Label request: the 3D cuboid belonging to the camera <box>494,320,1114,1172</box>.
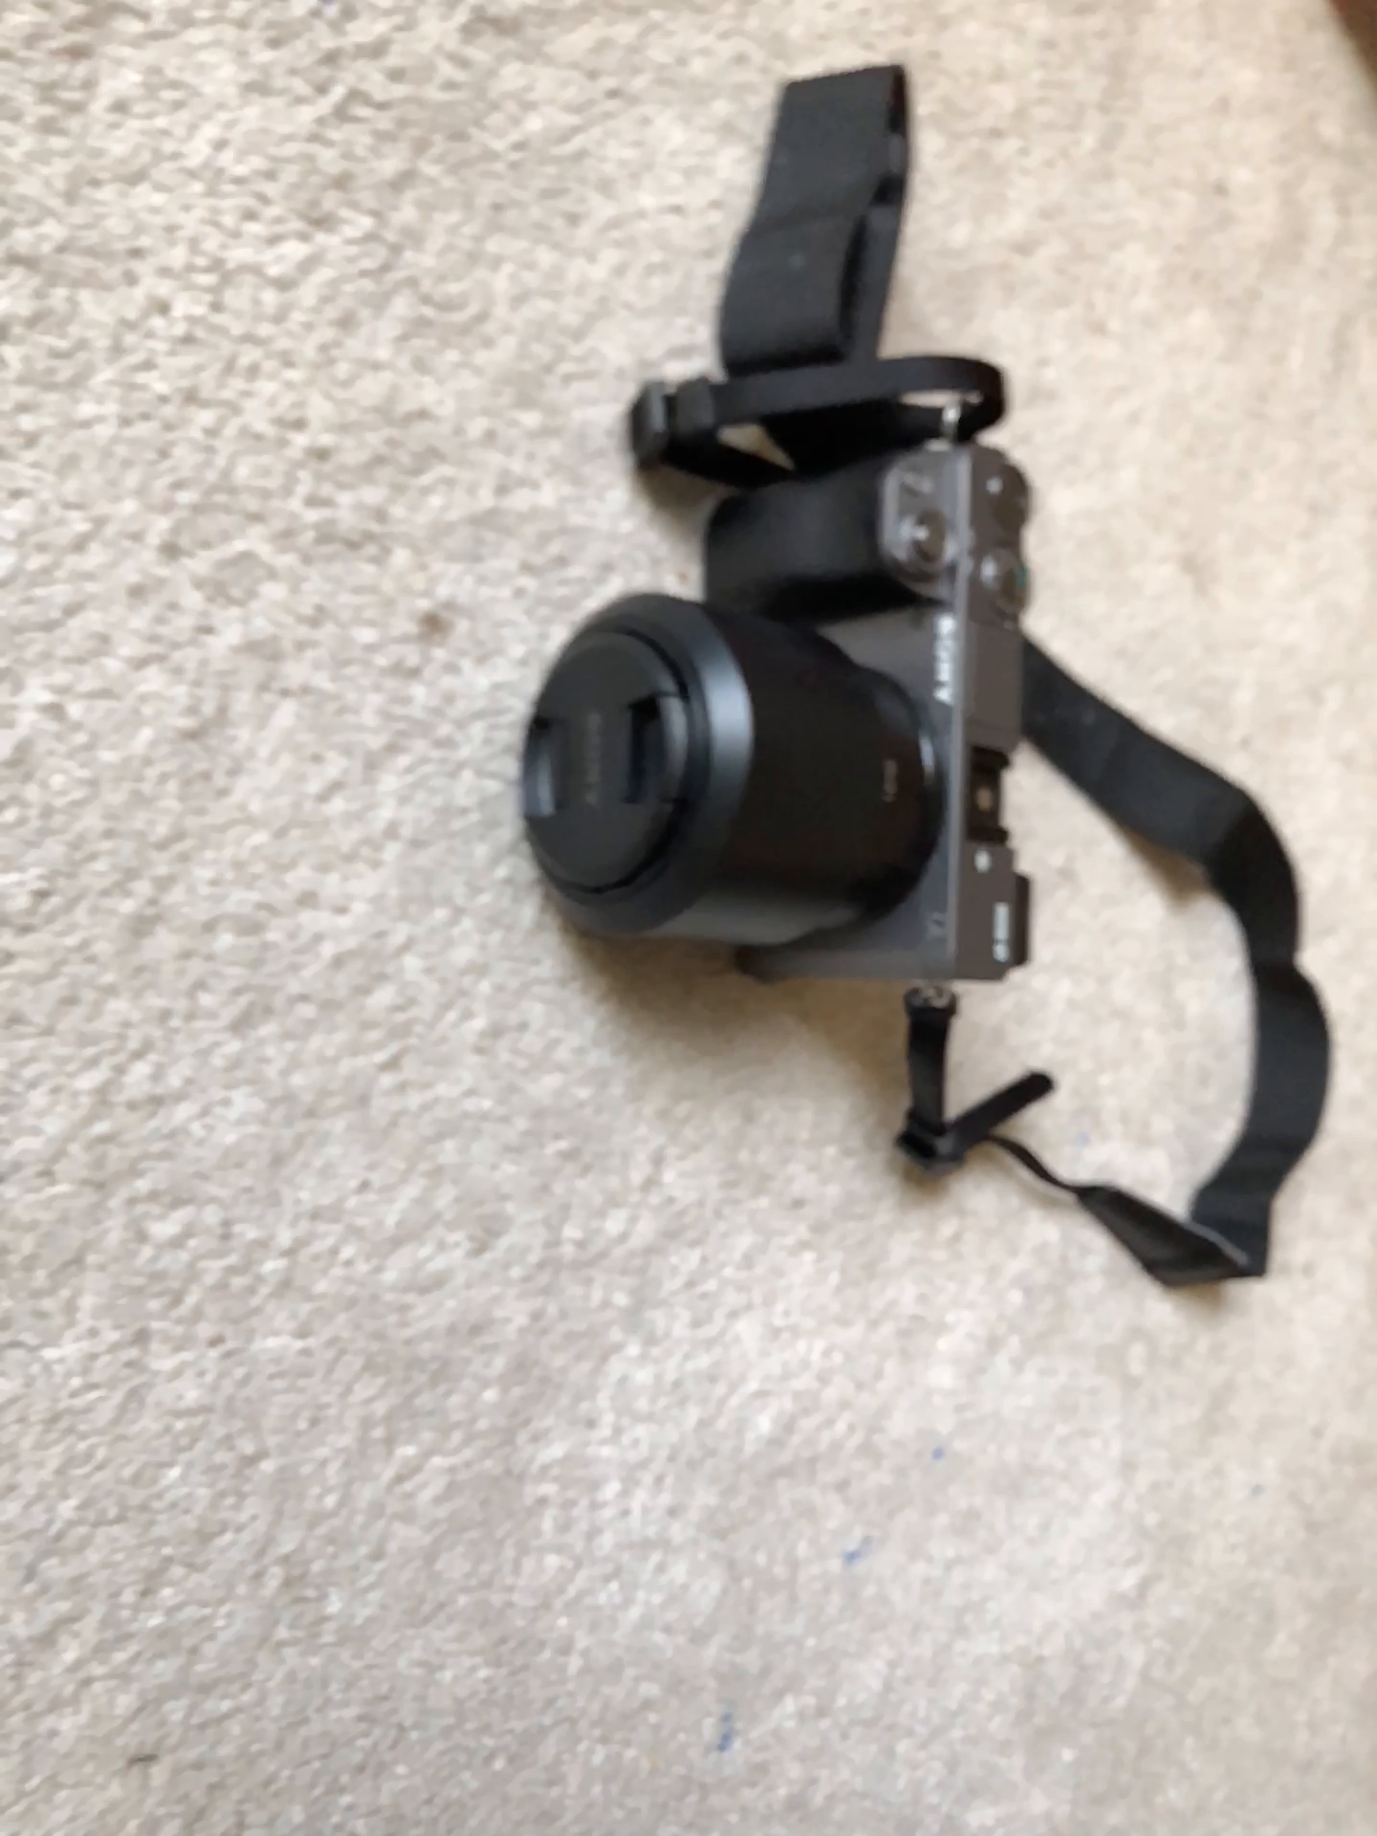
[{"bbox_3d":[0.026,-0.026,0.317,0.111,0.070,0.140,2,87,-44],"label":"camera"}]
